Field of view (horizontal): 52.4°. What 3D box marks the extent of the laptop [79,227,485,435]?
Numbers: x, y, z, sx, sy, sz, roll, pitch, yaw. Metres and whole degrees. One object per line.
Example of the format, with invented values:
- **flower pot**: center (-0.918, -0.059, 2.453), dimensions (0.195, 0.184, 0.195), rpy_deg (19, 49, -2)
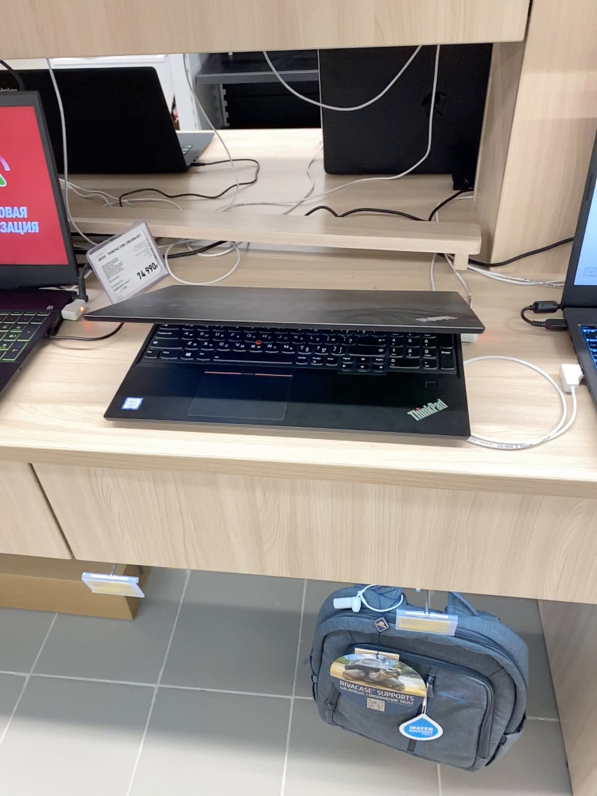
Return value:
- **laptop**: center (-0.005, -0.089, 0.658), dimensions (0.368, 0.093, 0.241), rpy_deg (3, 40, 9)
